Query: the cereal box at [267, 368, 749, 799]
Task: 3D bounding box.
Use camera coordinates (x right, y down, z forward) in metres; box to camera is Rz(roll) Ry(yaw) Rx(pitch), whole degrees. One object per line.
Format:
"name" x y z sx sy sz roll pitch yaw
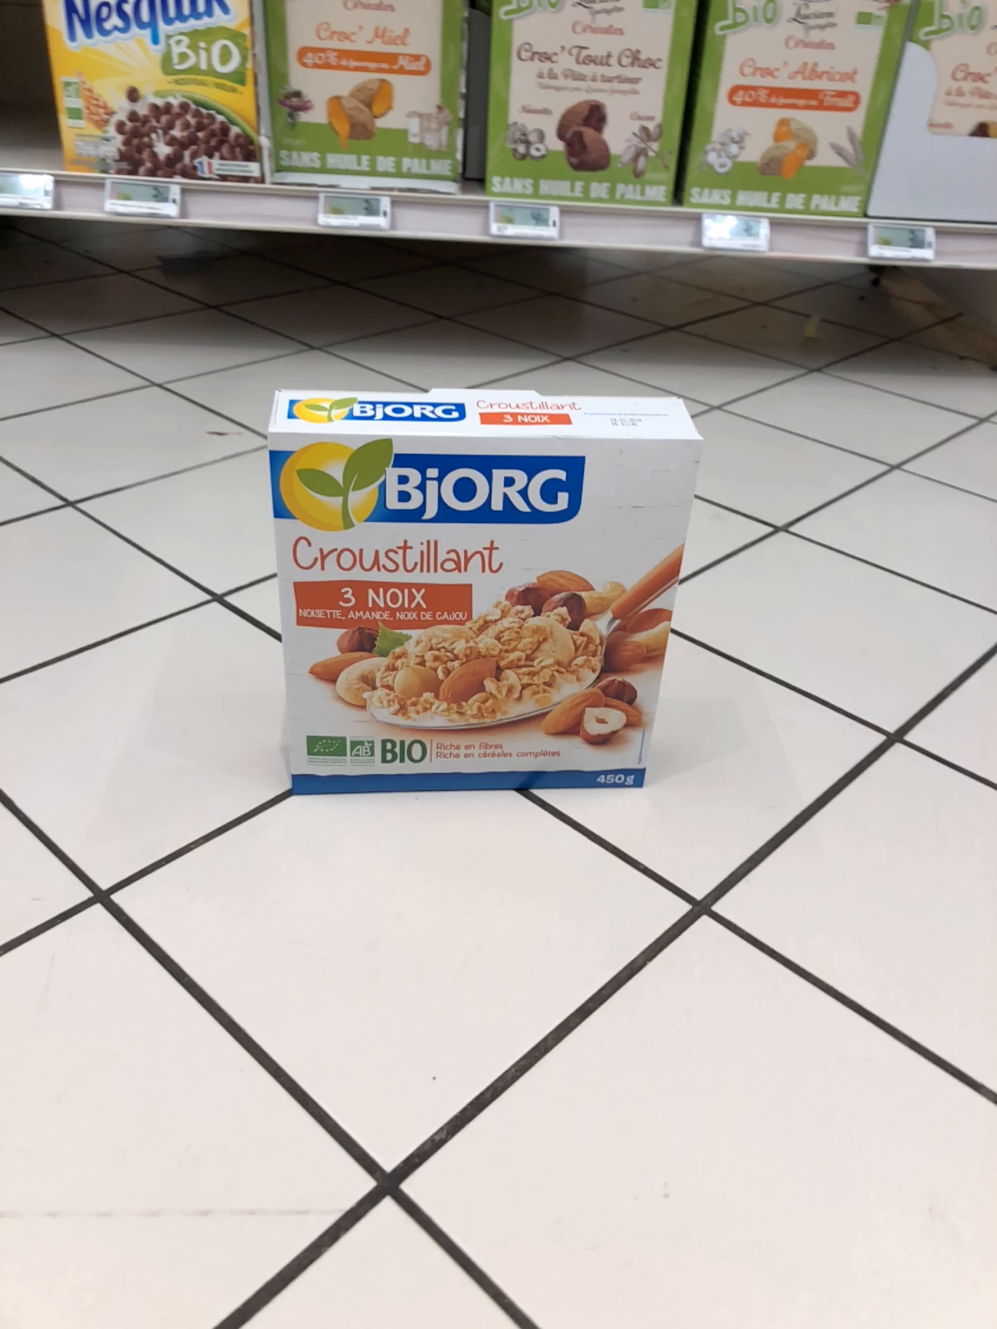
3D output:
"cereal box" 0.001 -0.033 0.565 0.210 0.219 0.060 1 36 -2
